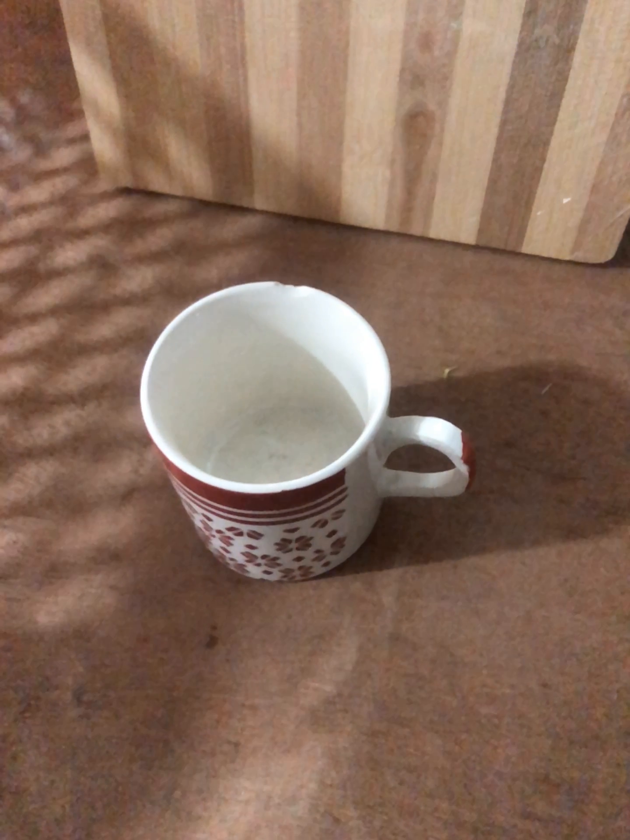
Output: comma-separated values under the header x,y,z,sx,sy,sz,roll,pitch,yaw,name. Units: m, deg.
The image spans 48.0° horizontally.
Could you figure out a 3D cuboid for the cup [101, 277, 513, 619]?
x,y,z,sx,sy,sz,roll,pitch,yaw,name
0.003,0.011,0.202,0.090,0.080,0.060,4,60,7,cup
